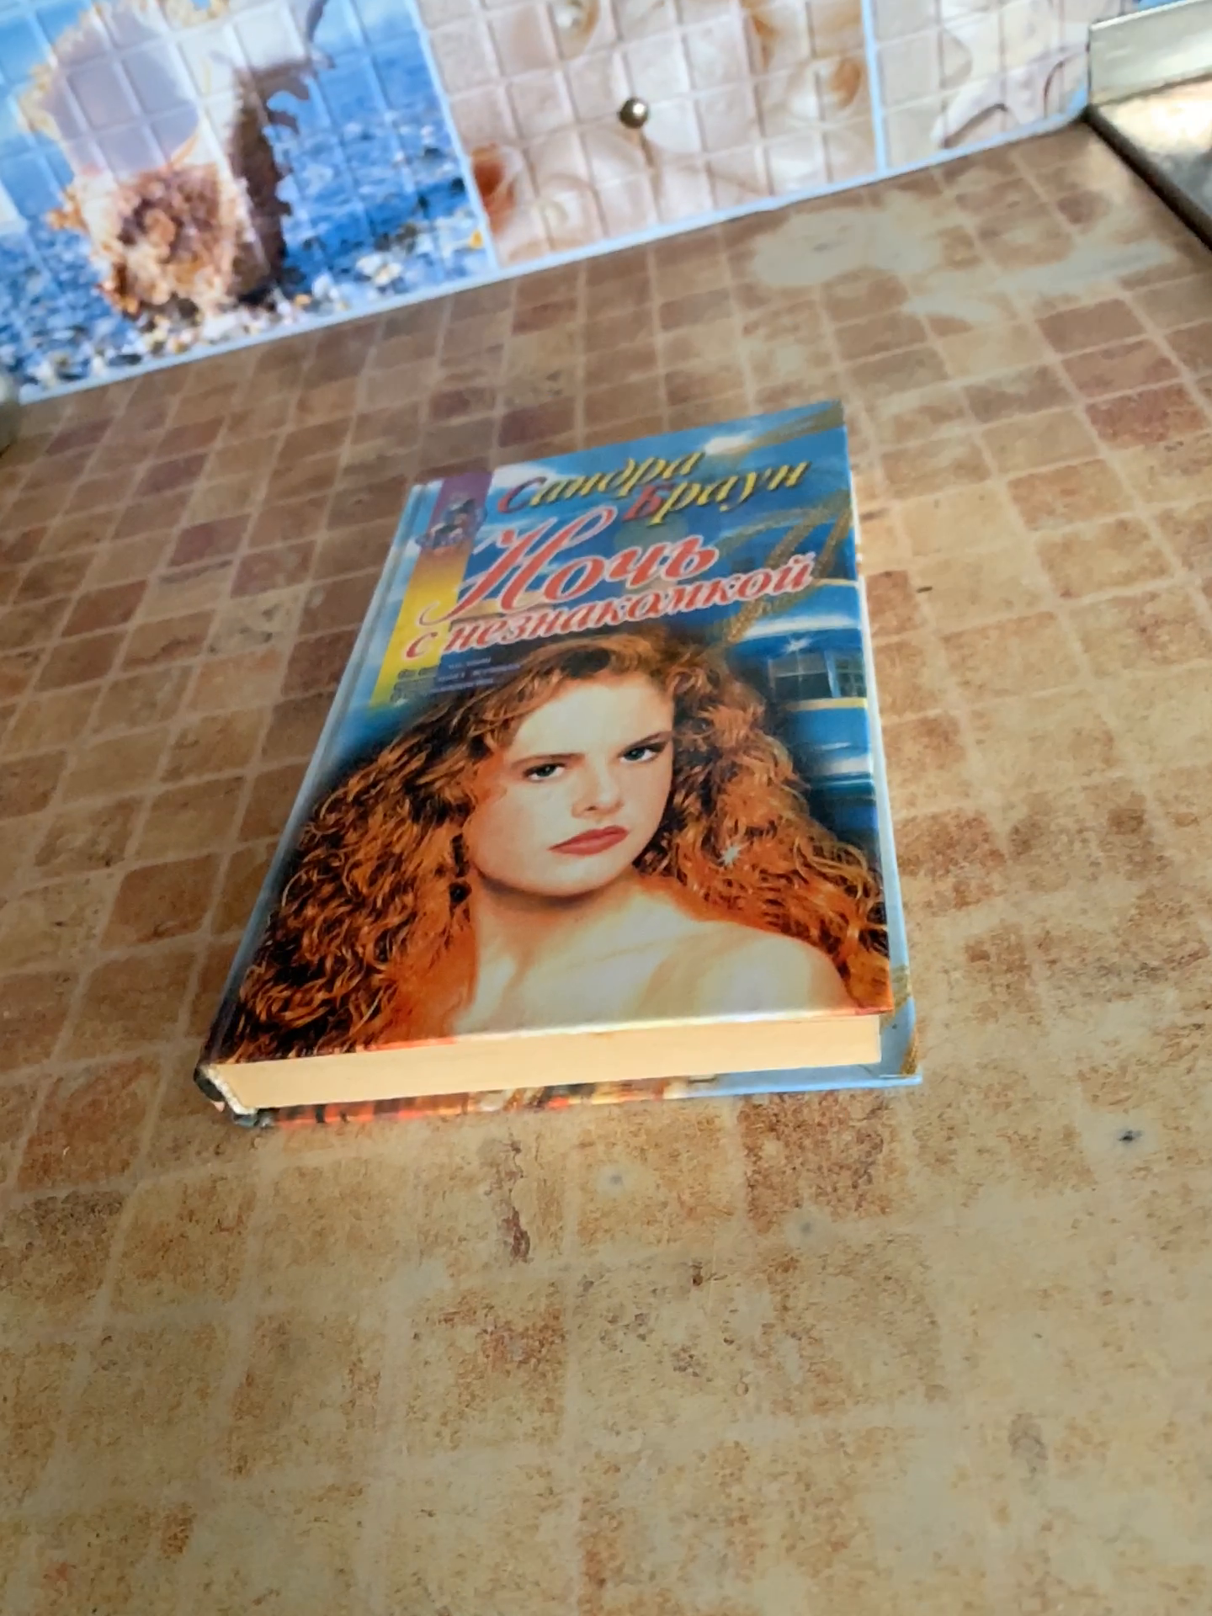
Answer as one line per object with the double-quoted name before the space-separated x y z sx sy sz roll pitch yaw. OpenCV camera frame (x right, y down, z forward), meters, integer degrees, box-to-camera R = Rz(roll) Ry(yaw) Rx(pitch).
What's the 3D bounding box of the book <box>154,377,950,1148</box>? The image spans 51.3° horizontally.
"book" -0.001 -0.024 0.279 0.130 0.028 0.199 -7 43 15
